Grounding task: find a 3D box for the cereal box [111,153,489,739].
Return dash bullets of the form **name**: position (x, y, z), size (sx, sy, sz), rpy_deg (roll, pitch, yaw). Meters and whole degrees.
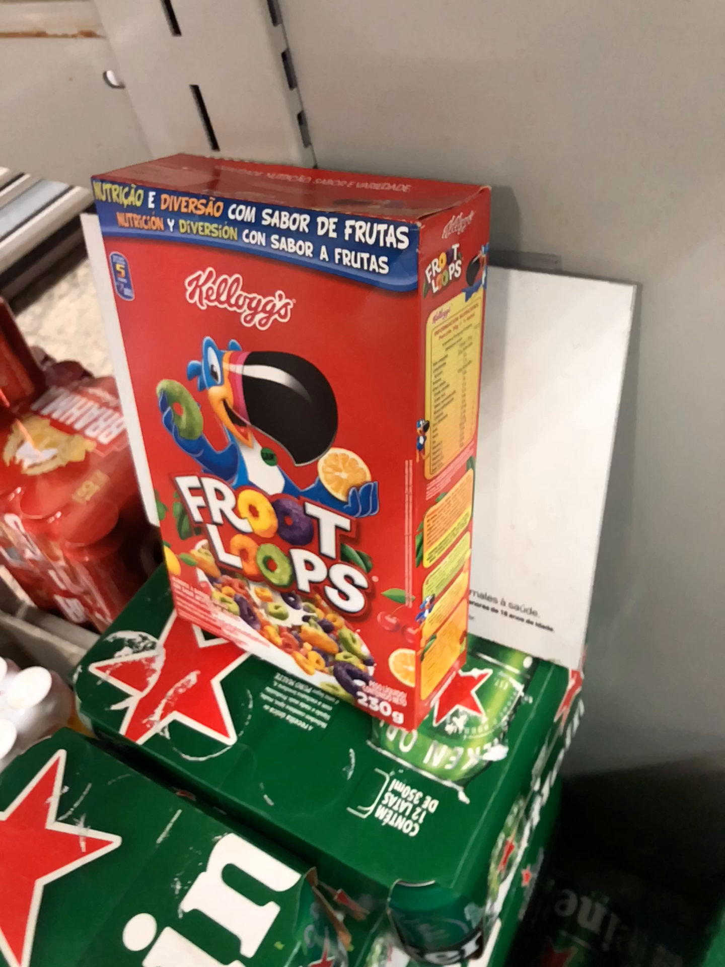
- **cereal box**: position (-0.026, -0.015, 0.400), size (0.150, 0.258, 0.060), rpy_deg (19, 37, 29)
